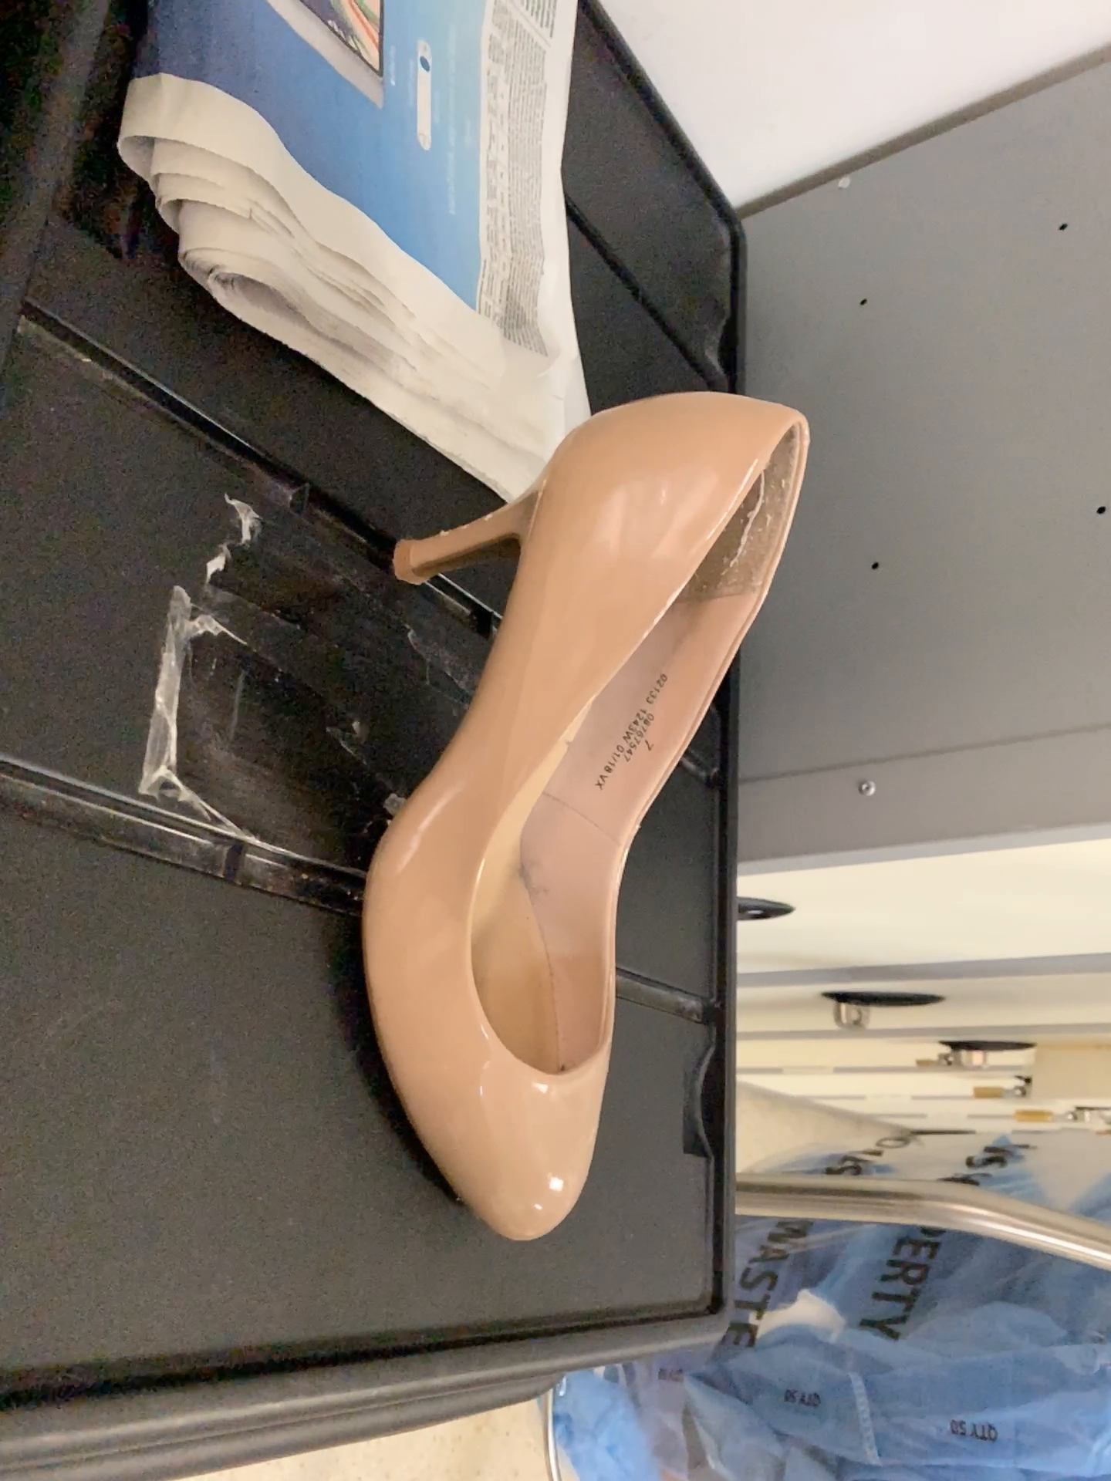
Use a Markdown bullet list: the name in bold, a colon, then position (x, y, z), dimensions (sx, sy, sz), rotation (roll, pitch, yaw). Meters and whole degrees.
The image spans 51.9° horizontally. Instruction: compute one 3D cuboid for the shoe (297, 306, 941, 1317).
- **shoe**: position (0.015, 0.023, 0.346), dimensions (0.097, 0.140, 0.239), rotation (7, 74, -57)
